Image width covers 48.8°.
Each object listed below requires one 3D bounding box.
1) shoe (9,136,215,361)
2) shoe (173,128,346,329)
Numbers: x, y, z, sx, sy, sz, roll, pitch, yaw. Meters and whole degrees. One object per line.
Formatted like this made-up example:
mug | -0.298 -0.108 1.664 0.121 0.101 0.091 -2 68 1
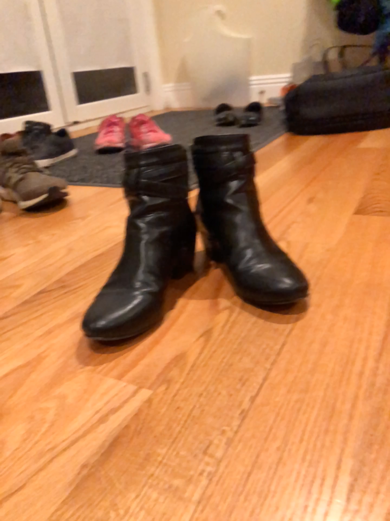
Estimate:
shoe | -0.069 -0.032 0.490 0.090 0.172 0.227 5 26 25
shoe | 0.065 -0.057 0.521 0.090 0.172 0.227 -15 25 -19
